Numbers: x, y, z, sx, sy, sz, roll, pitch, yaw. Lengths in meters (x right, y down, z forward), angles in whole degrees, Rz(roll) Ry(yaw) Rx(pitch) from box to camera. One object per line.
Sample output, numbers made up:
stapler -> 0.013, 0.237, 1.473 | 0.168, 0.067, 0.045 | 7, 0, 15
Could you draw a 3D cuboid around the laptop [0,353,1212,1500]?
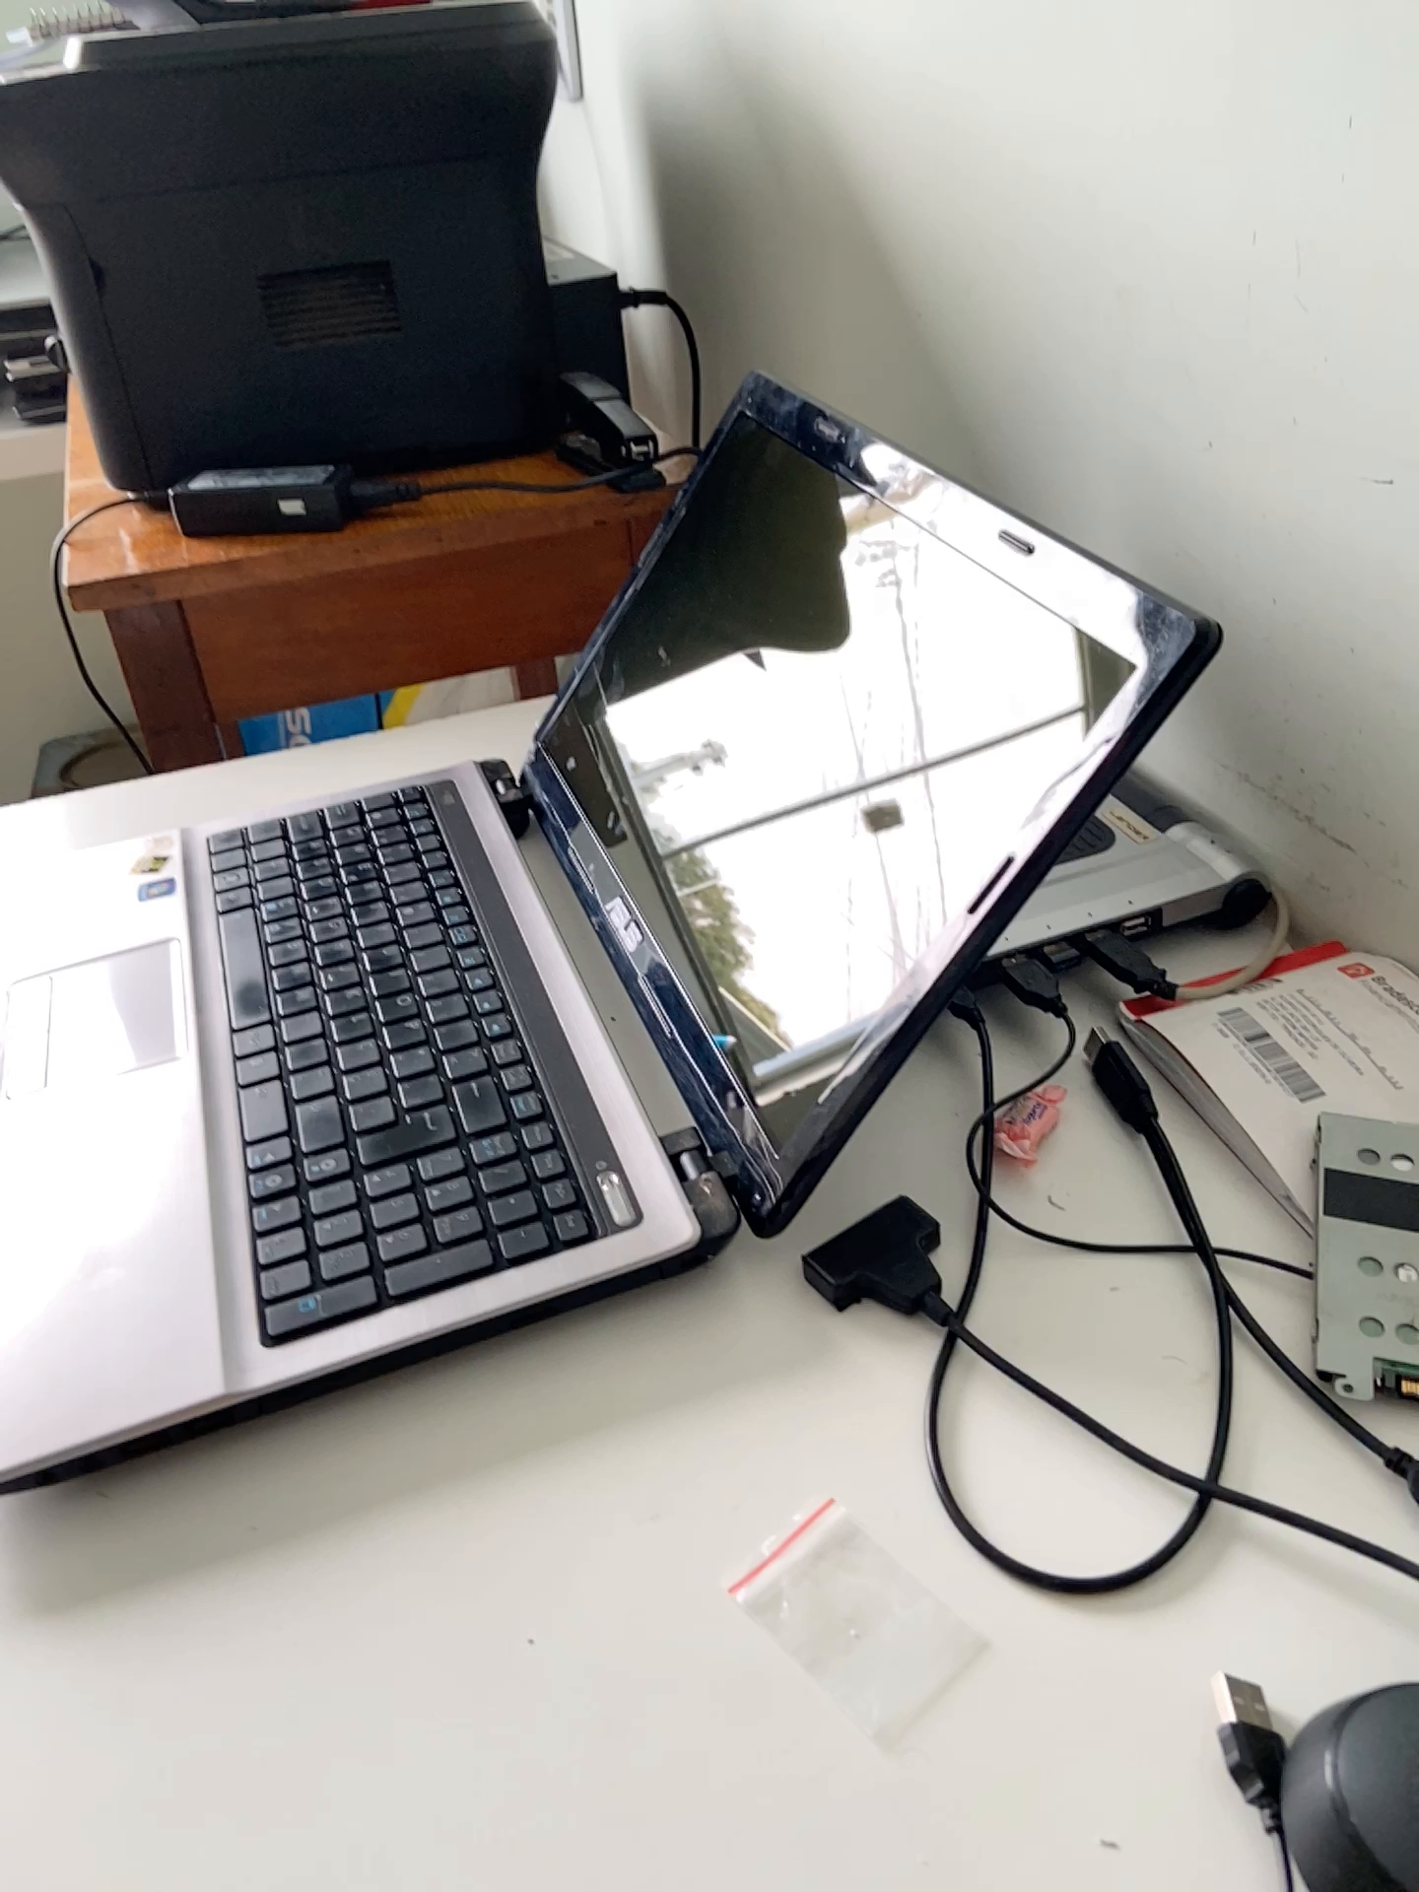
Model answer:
laptop -> -0.101, -0.066, 0.575 | 0.415, 0.179, 0.378 | -16, 35, -12
